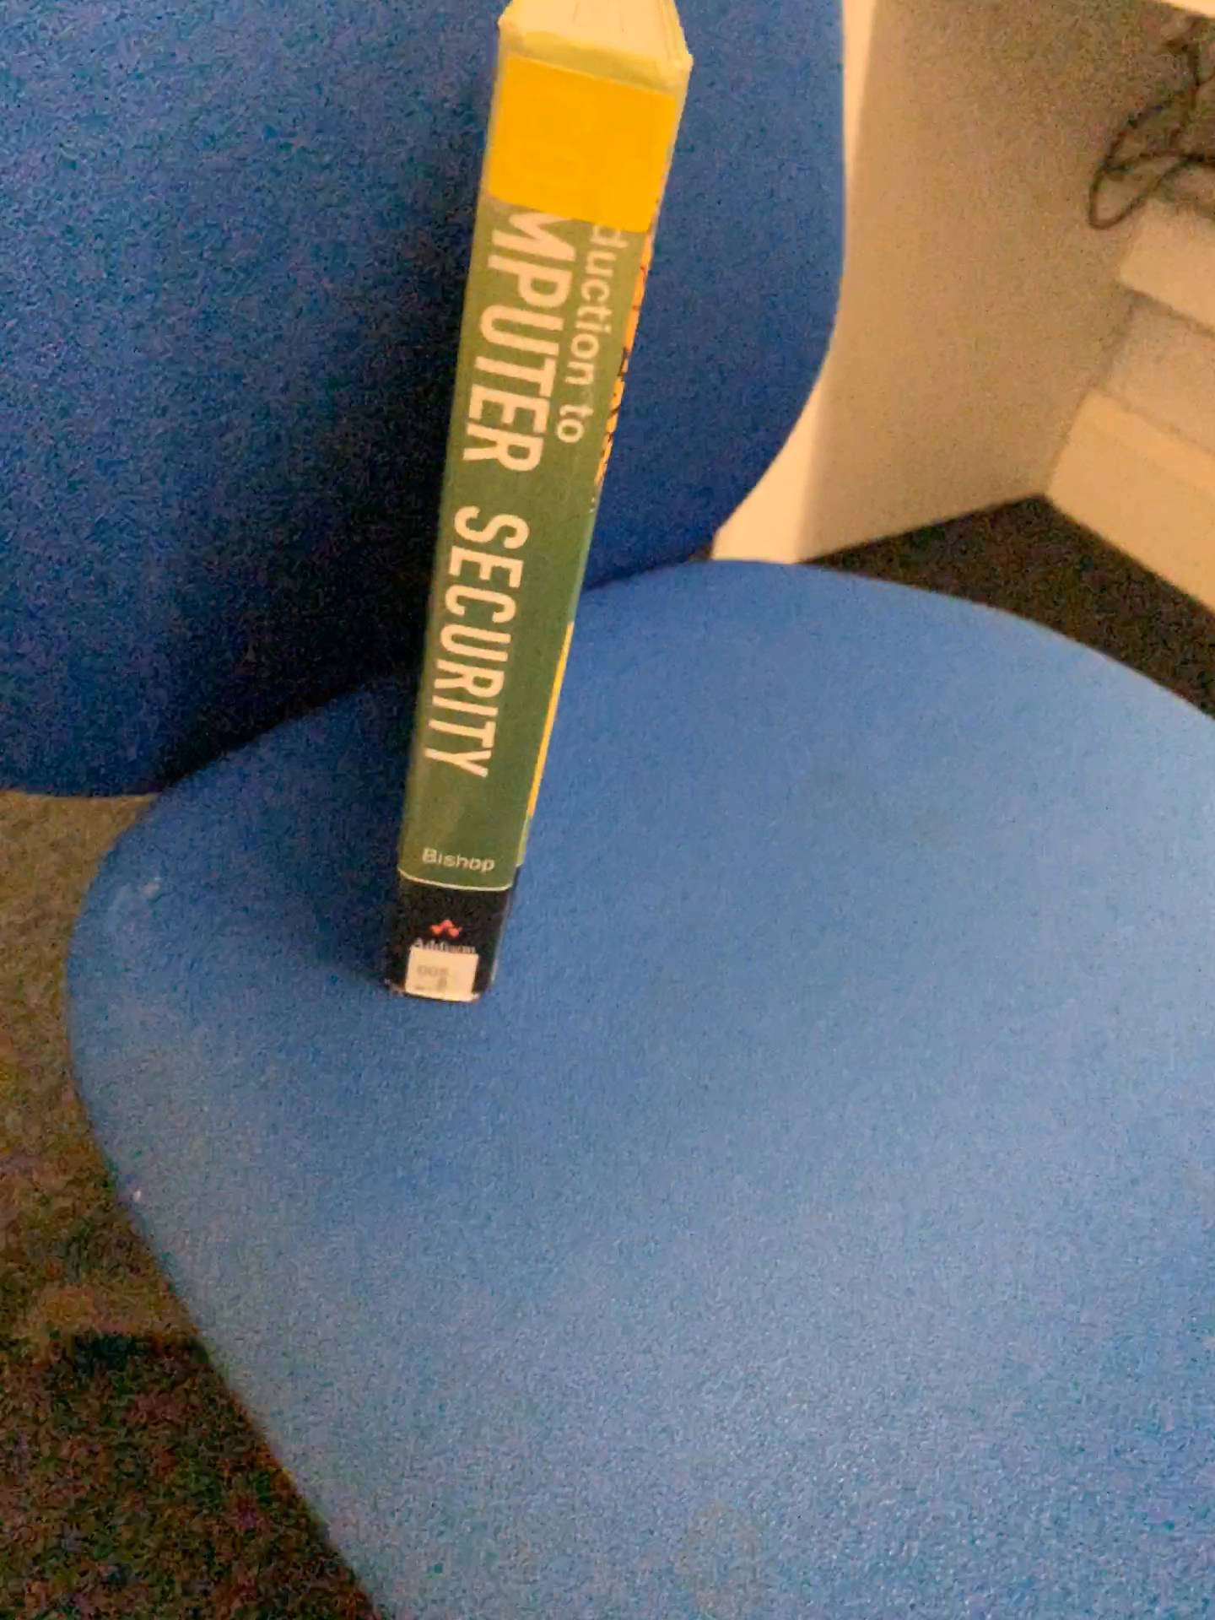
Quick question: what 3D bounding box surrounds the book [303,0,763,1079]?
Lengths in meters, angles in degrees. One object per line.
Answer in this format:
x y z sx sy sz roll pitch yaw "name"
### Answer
-0.029 -0.096 0.358 0.050 0.277 0.212 11 41 -7 "book"
